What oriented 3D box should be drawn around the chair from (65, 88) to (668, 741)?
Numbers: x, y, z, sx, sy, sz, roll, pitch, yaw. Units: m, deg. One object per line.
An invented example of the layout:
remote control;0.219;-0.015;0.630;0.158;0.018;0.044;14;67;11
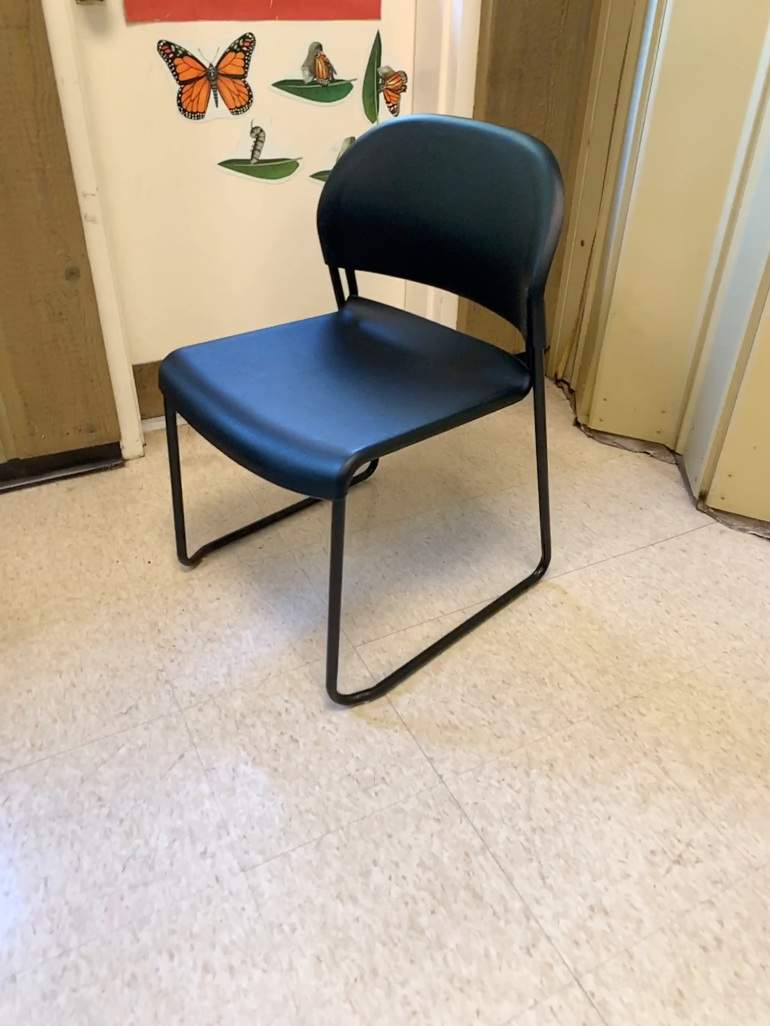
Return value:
chair;-0.030;-0.221;1.331;0.622;0.795;0.582;-28;44;-36
